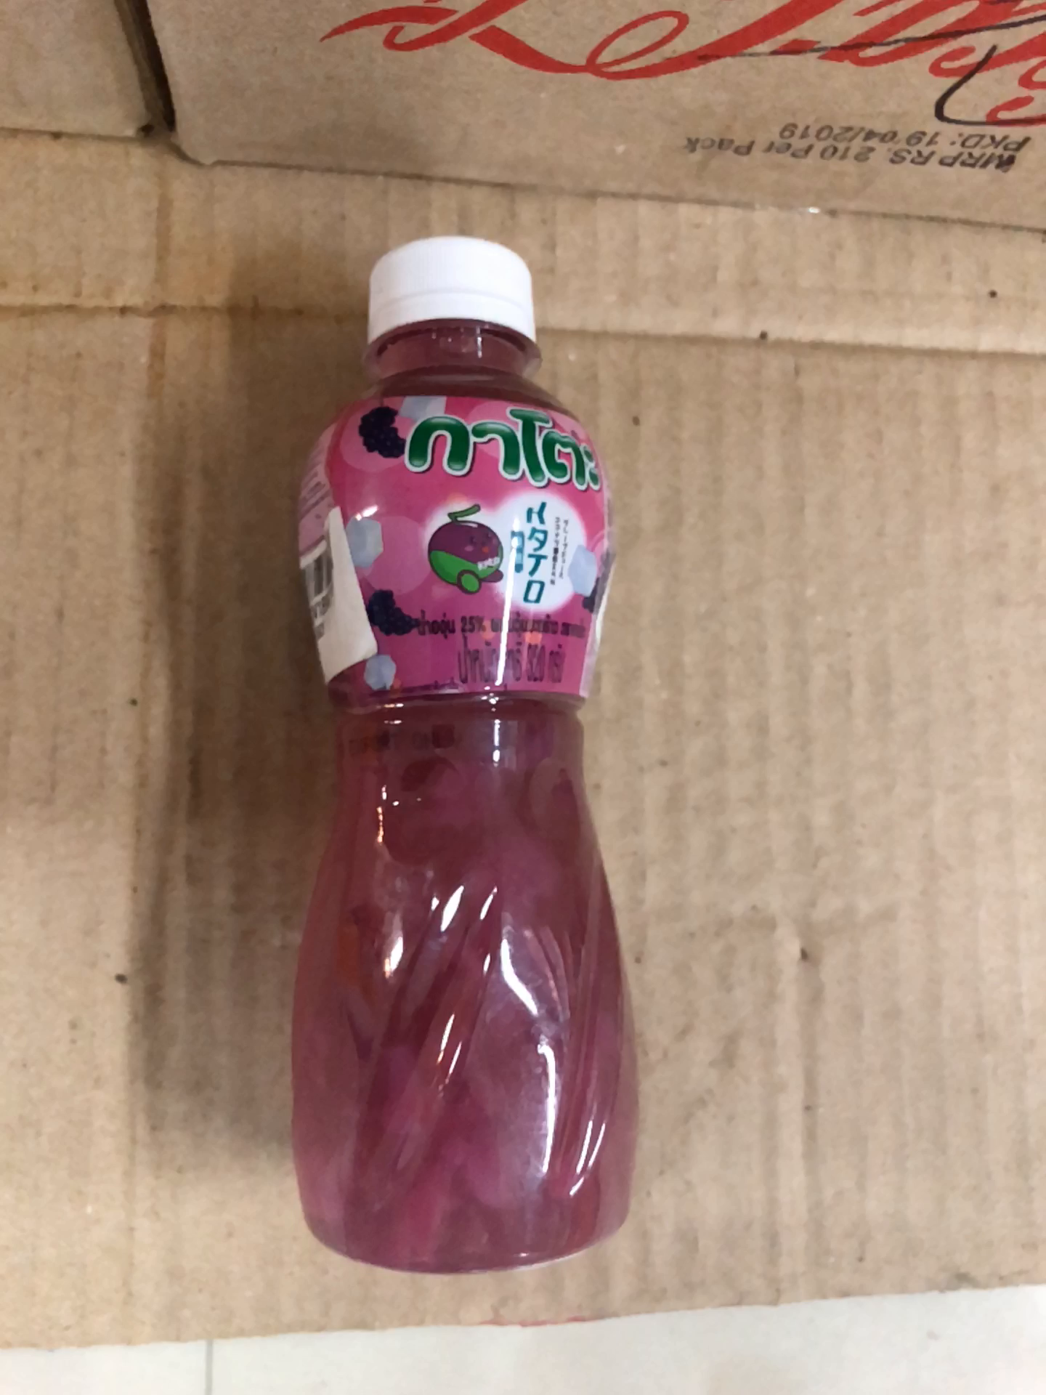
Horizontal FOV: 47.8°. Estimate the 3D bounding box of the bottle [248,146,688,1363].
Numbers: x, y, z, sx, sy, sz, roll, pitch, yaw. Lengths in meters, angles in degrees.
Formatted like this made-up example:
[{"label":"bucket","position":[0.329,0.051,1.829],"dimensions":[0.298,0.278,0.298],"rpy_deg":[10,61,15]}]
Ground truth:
[{"label":"bottle","position":[-0.014,0.006,0.197],"dimensions":[0.060,0.050,0.170],"rpy_deg":[1,83,-16]}]
